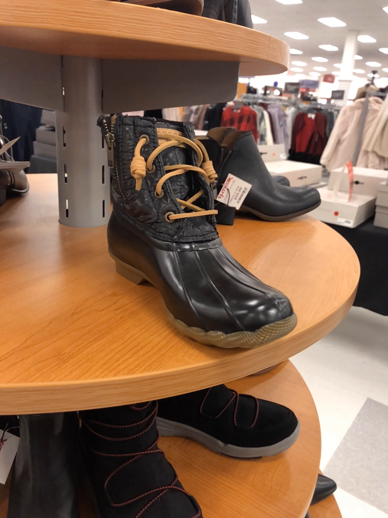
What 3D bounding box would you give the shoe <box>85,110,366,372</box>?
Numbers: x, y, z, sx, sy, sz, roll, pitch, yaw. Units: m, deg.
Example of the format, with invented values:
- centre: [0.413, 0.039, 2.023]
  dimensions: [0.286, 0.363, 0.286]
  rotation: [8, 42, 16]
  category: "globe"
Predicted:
- centre: [0.005, -0.043, 0.382]
  dimensions: [0.113, 0.157, 0.231]
  rotation: [-12, 25, -34]
  category: "shoe"
